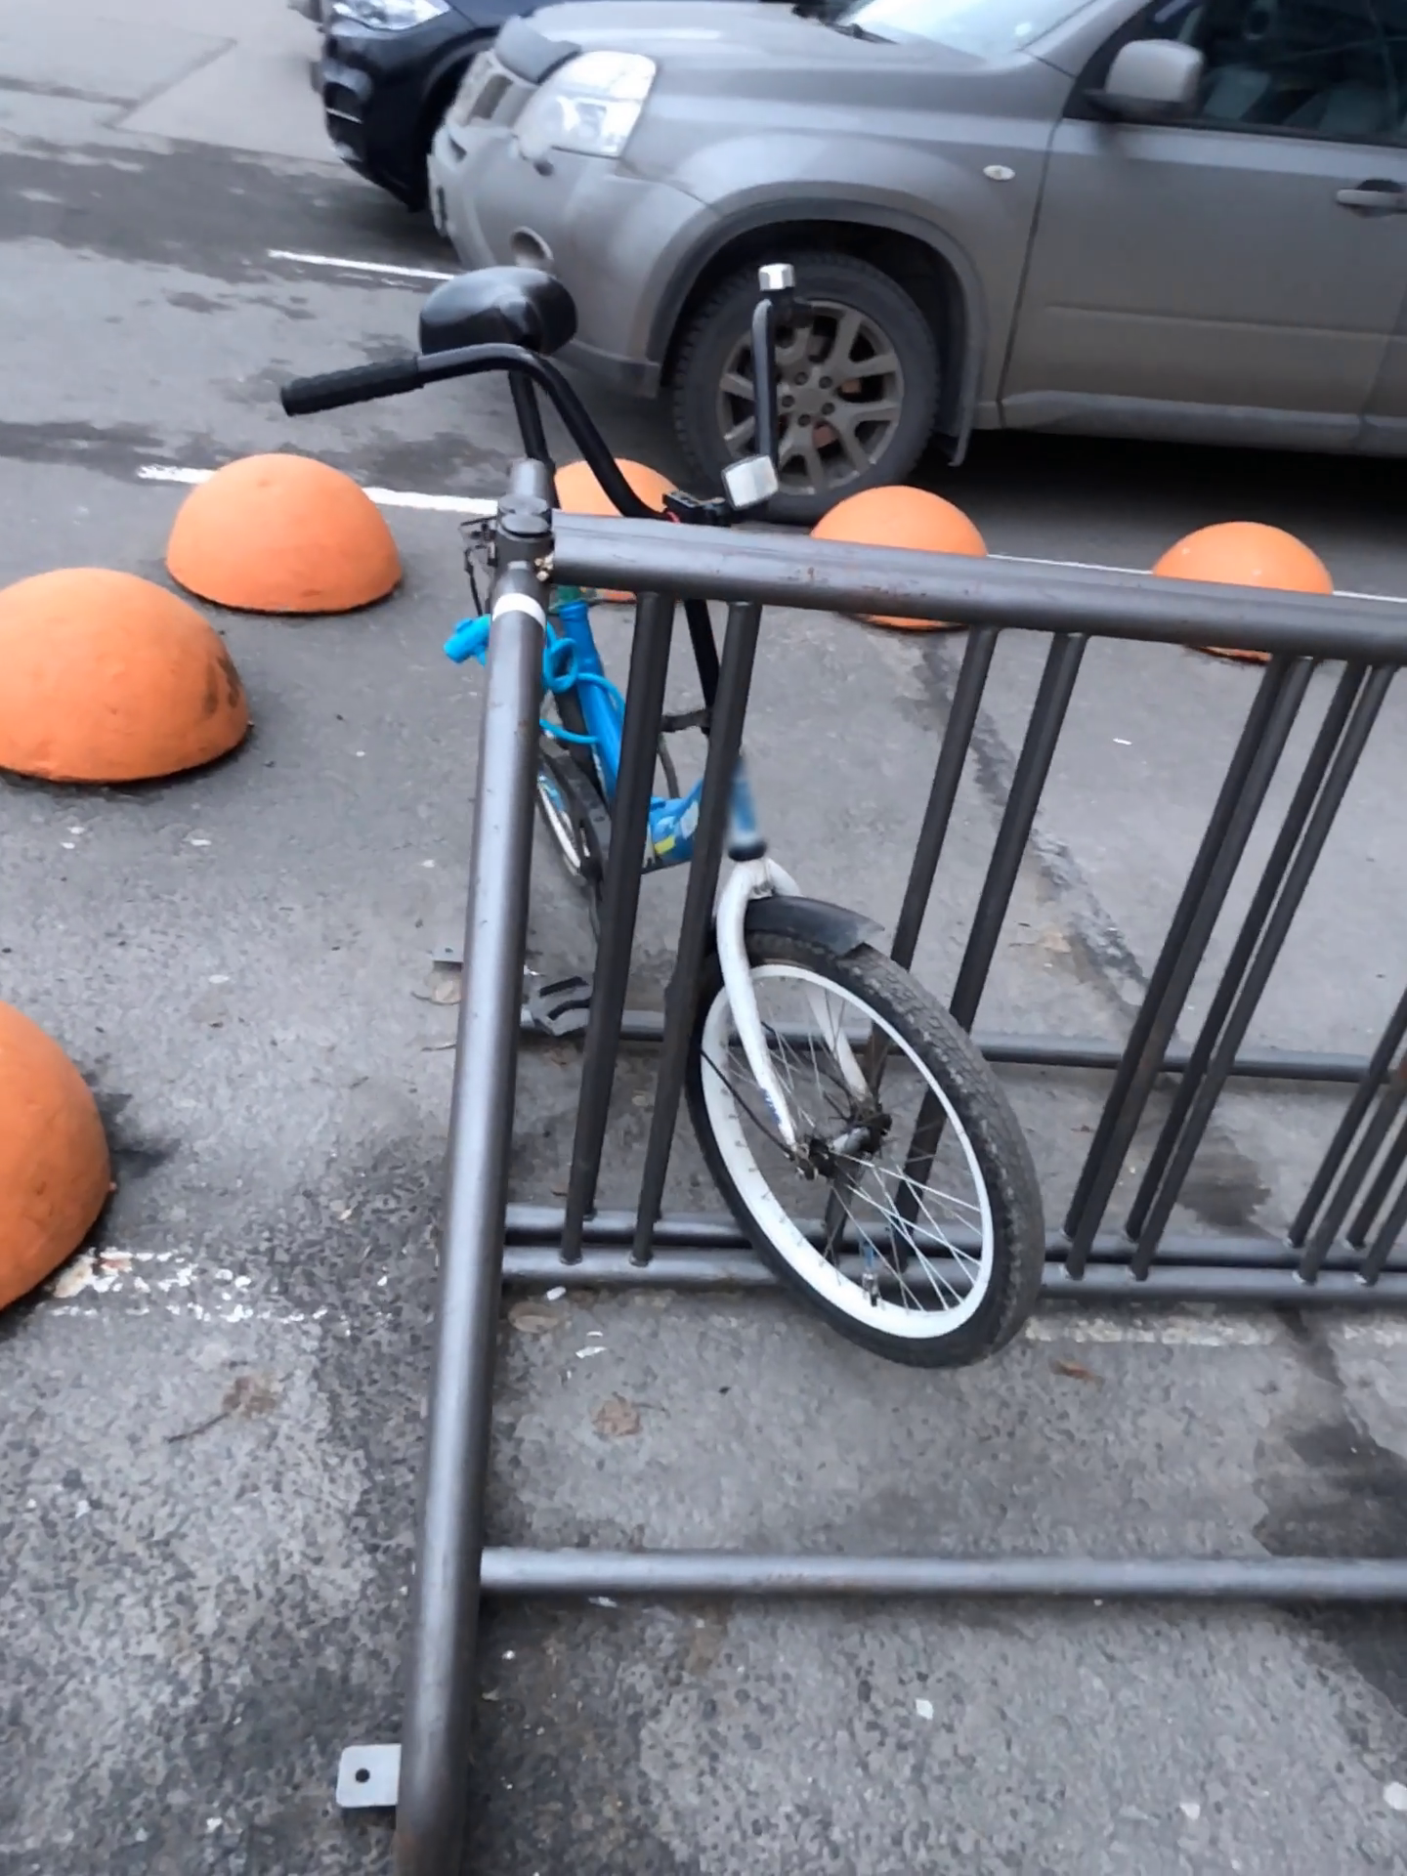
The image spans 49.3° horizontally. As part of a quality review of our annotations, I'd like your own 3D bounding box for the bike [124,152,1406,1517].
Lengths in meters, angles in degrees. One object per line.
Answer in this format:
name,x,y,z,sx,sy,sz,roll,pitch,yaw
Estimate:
bike,-0.160,-0.290,1.709,0.724,0.992,1.425,-8,30,-23
